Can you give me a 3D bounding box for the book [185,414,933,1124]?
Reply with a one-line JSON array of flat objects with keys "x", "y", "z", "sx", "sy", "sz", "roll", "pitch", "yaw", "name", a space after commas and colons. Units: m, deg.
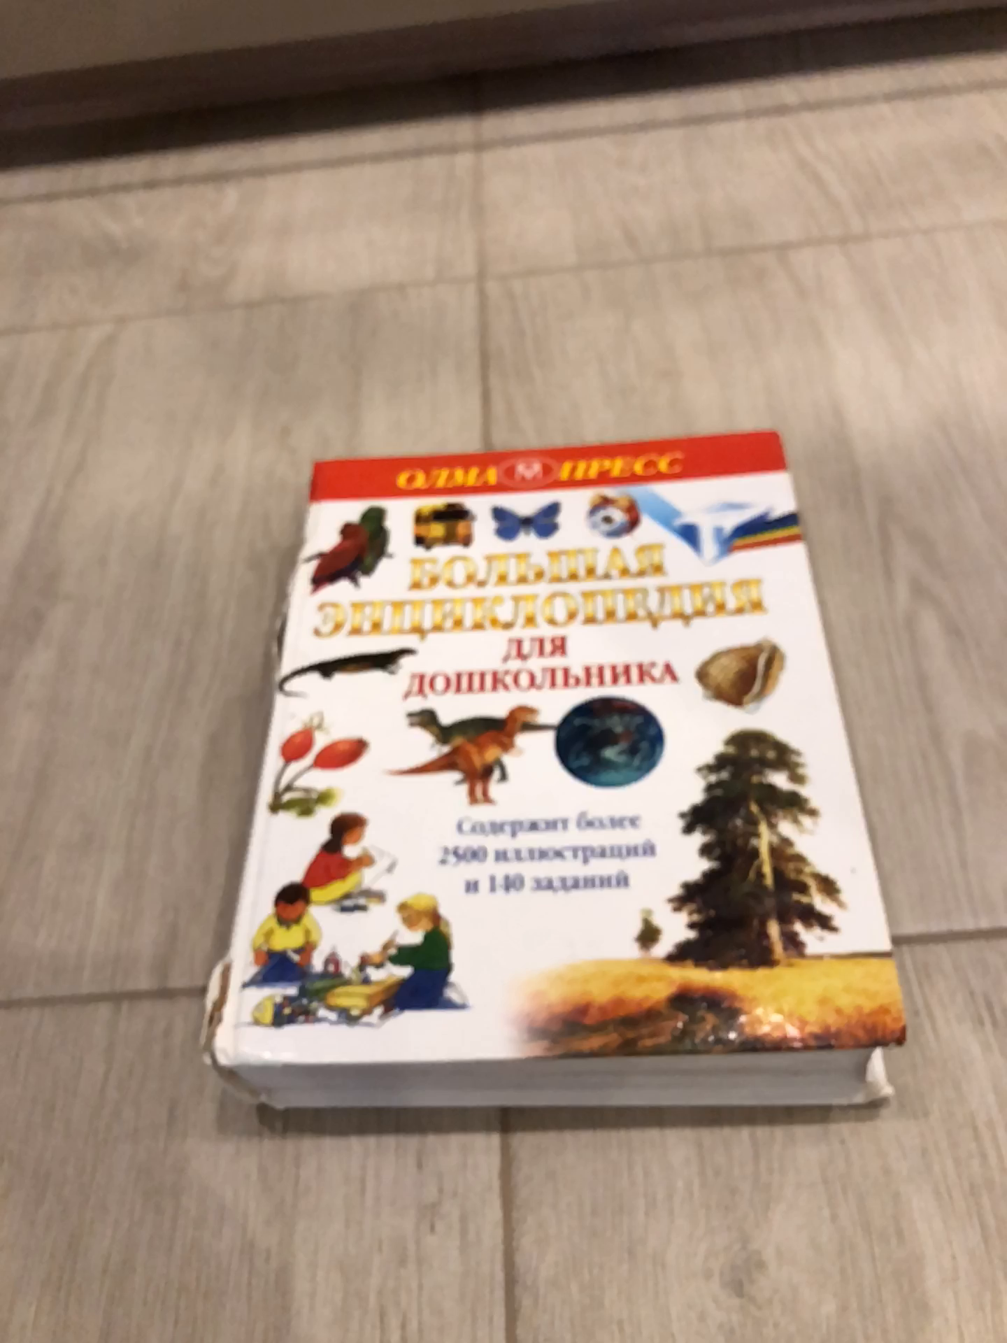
[{"x": 0.019, "y": 0.020, "z": 0.436, "sx": 0.216, "sy": 0.060, "sz": 0.282, "roll": -2, "pitch": 51, "yaw": 5, "name": "book"}]
